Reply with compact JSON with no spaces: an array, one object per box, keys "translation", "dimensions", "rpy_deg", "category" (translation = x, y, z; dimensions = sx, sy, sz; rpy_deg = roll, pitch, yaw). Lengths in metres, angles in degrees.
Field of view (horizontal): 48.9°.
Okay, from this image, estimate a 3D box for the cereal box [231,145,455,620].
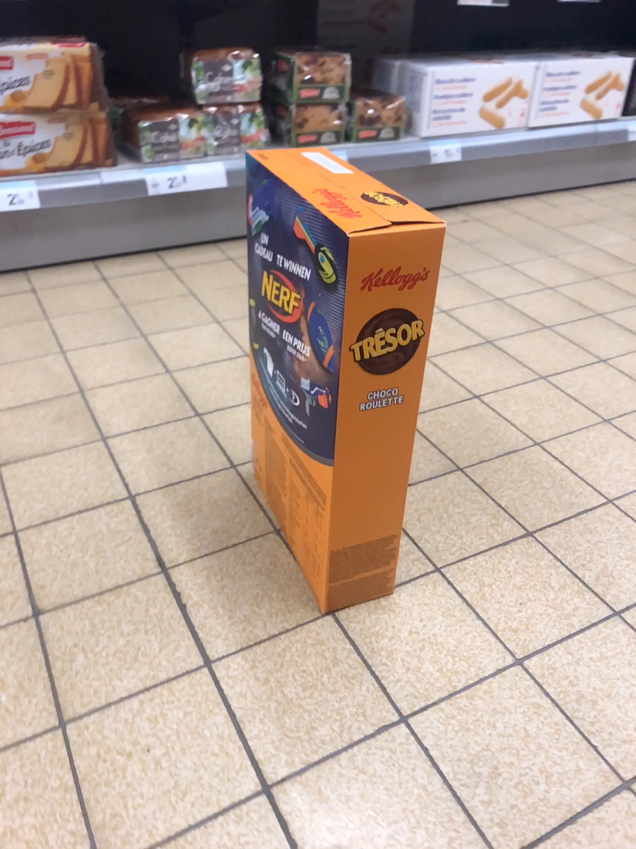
[{"translation":[0.000,-0.037,0.535],"dimensions":[0.070,0.288,0.211],"rpy_deg":[-11,36,-19],"category":"cereal box"}]
